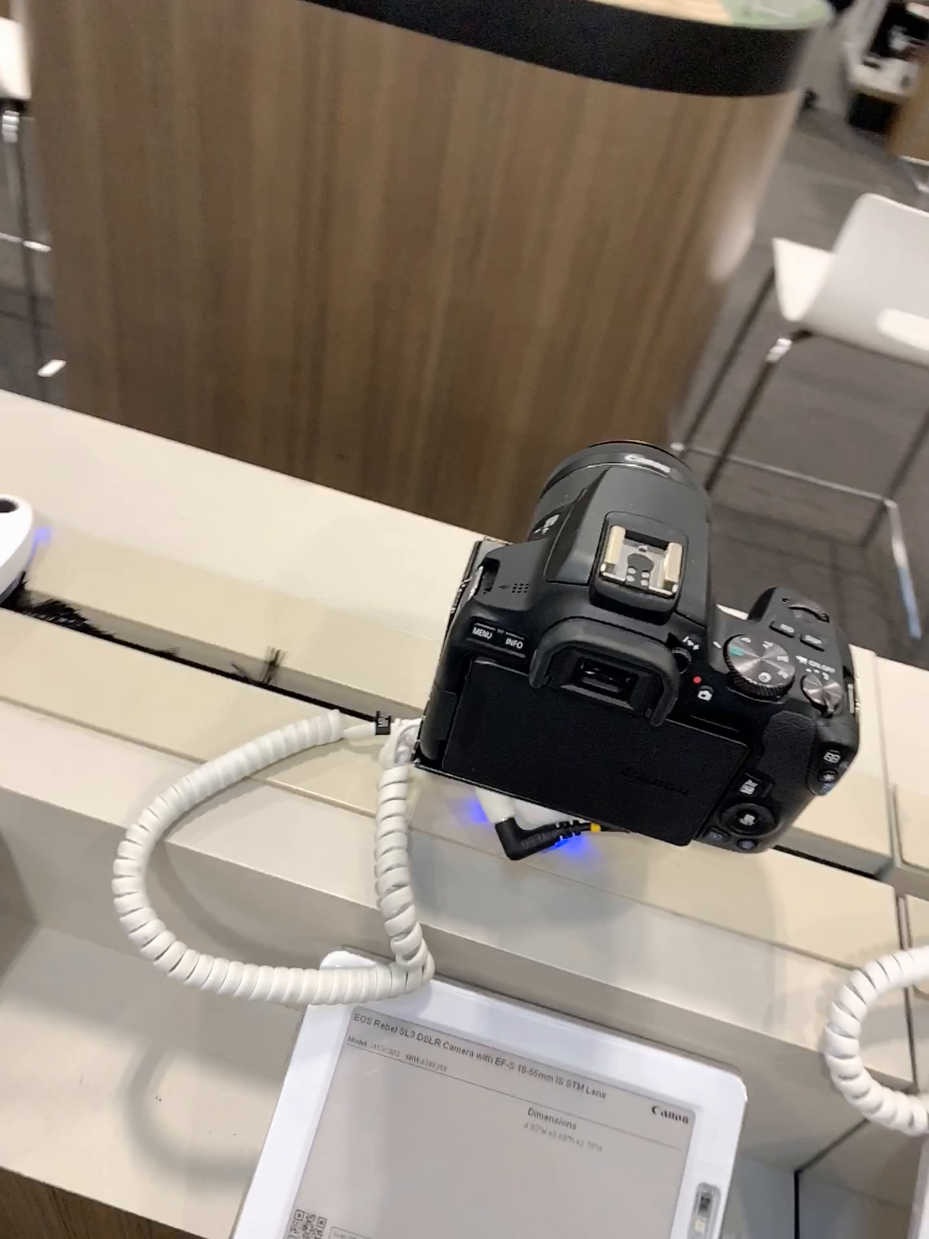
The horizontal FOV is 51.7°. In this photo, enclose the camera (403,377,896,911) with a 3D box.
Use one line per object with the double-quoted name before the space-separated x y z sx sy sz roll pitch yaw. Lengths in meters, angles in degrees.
"camera" 0.058 0.003 0.331 0.121 0.089 0.135 14 44 0
